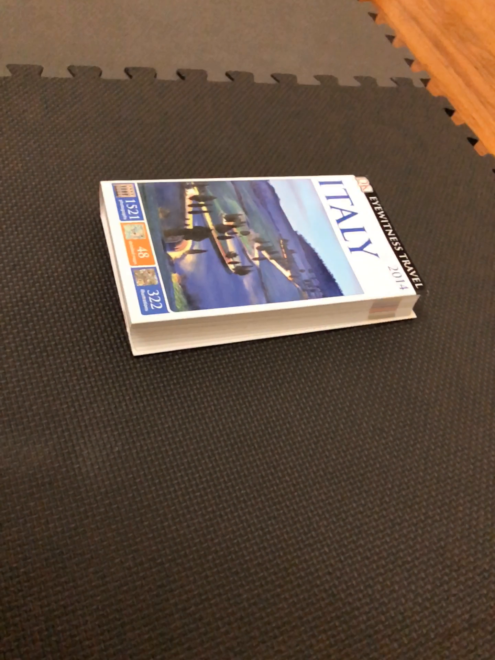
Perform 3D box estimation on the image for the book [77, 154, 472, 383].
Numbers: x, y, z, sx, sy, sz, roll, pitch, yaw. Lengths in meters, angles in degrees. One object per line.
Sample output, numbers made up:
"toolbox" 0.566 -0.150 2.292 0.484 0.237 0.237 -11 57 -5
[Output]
"book" 0.017 -0.059 0.401 0.250 0.040 0.161 -7 58 -21
